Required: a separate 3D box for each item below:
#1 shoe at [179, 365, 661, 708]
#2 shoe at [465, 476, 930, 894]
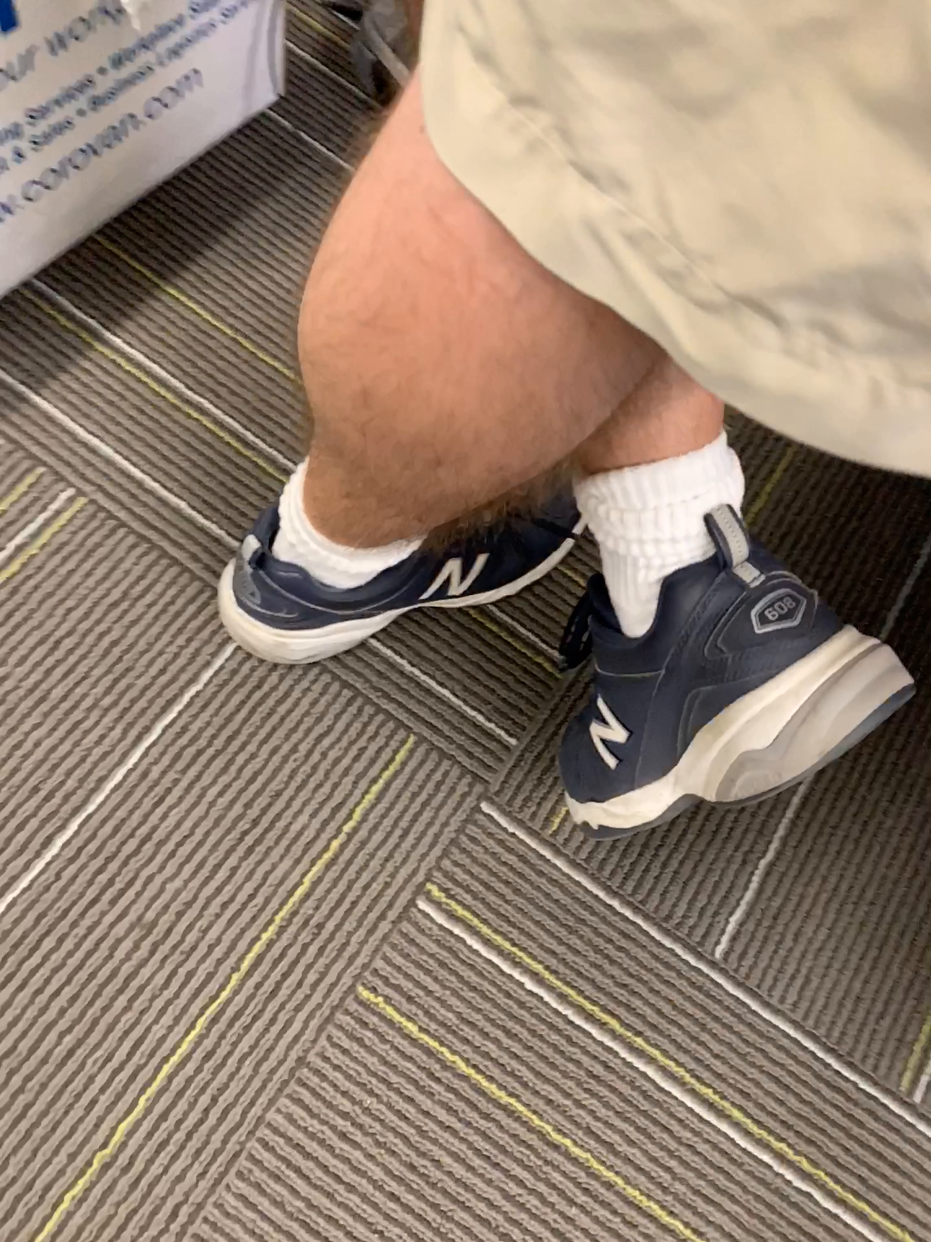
[{"bbox_3d":[-0.029,-0.063,0.661,0.297,0.077,0.120,-24,75,-19],"label":"shoe"},{"bbox_3d":[0.112,0.060,0.553,0.122,0.293,0.129,-29,79,-19],"label":"shoe"}]
